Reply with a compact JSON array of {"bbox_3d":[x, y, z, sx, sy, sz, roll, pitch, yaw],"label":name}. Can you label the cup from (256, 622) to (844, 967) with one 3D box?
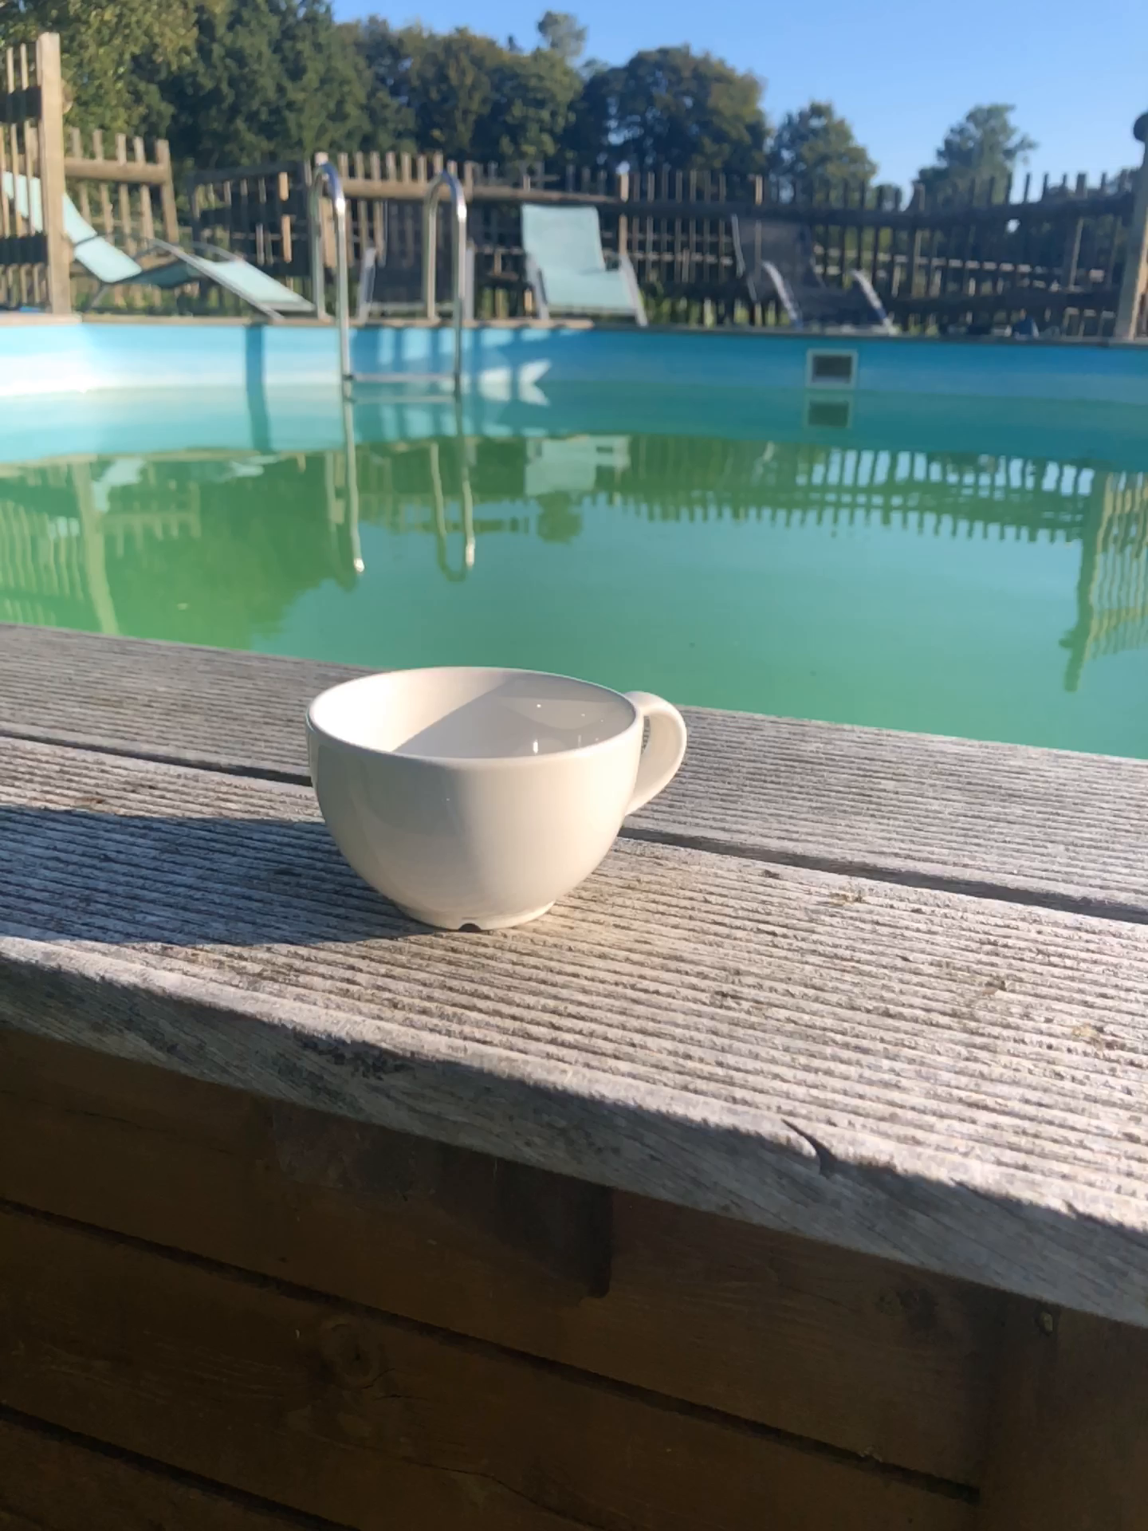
[{"bbox_3d":[-0.008,-0.001,0.348,0.121,0.038,0.104,-14,25,-33],"label":"cup"}]
